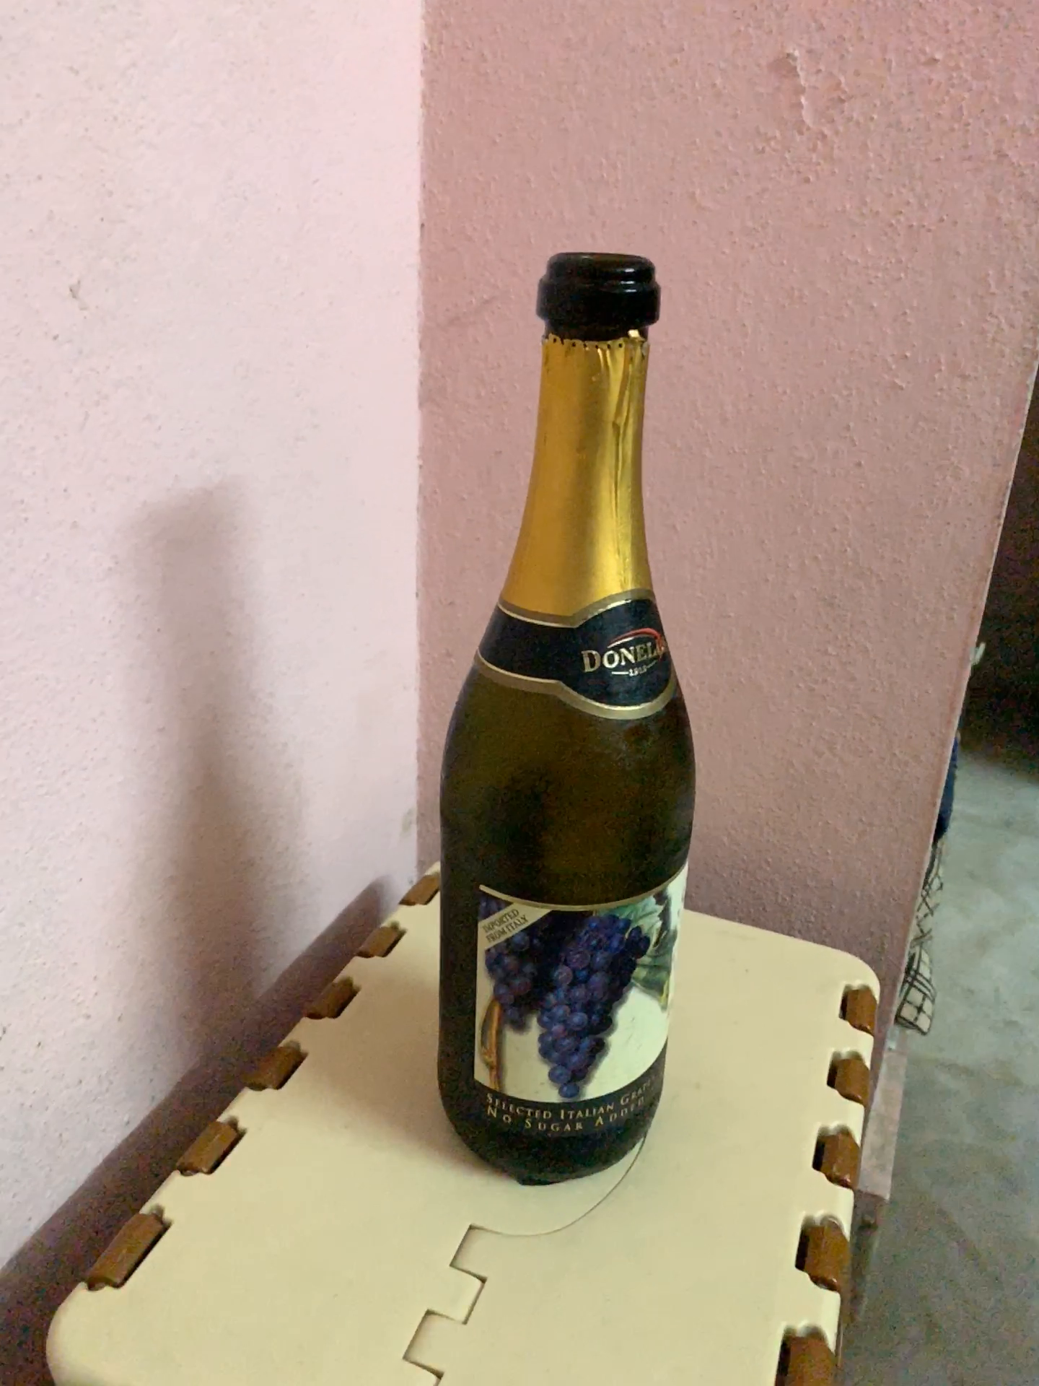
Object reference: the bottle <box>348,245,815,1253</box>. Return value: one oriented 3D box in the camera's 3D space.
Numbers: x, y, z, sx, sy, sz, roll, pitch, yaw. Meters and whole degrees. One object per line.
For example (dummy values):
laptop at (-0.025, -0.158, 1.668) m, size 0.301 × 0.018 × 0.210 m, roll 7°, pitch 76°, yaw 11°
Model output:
bottle at (0.010, 0.020, 0.318) m, size 0.090 × 0.279 × 0.070 m, roll -16°, pitch 30°, yaw -35°
